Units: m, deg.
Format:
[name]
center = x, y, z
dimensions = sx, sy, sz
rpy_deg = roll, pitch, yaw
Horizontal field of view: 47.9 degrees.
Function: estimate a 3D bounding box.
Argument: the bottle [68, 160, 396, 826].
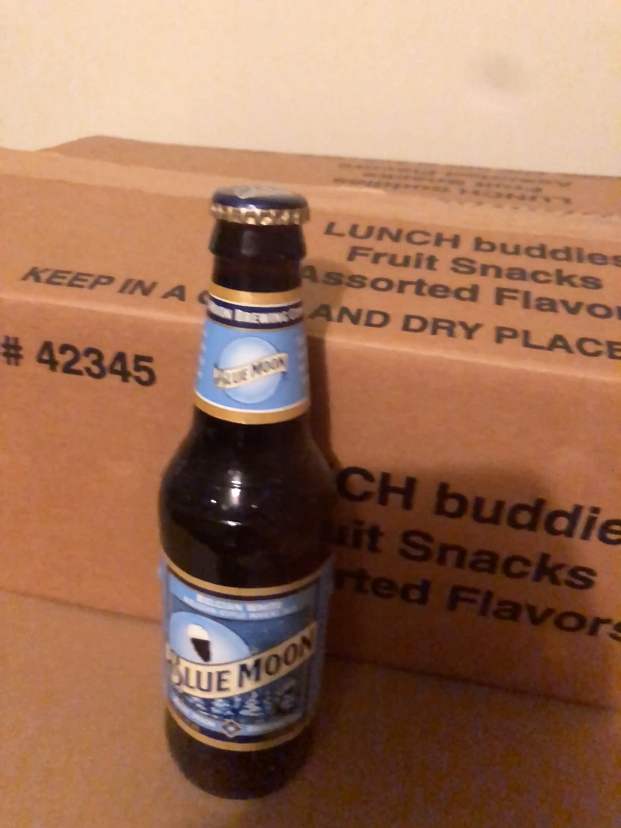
[bottle]
center = -0.018, 0.036, 0.224
dimensions = 0.070, 0.209, 0.060
rpy_deg = 5, 29, 4
